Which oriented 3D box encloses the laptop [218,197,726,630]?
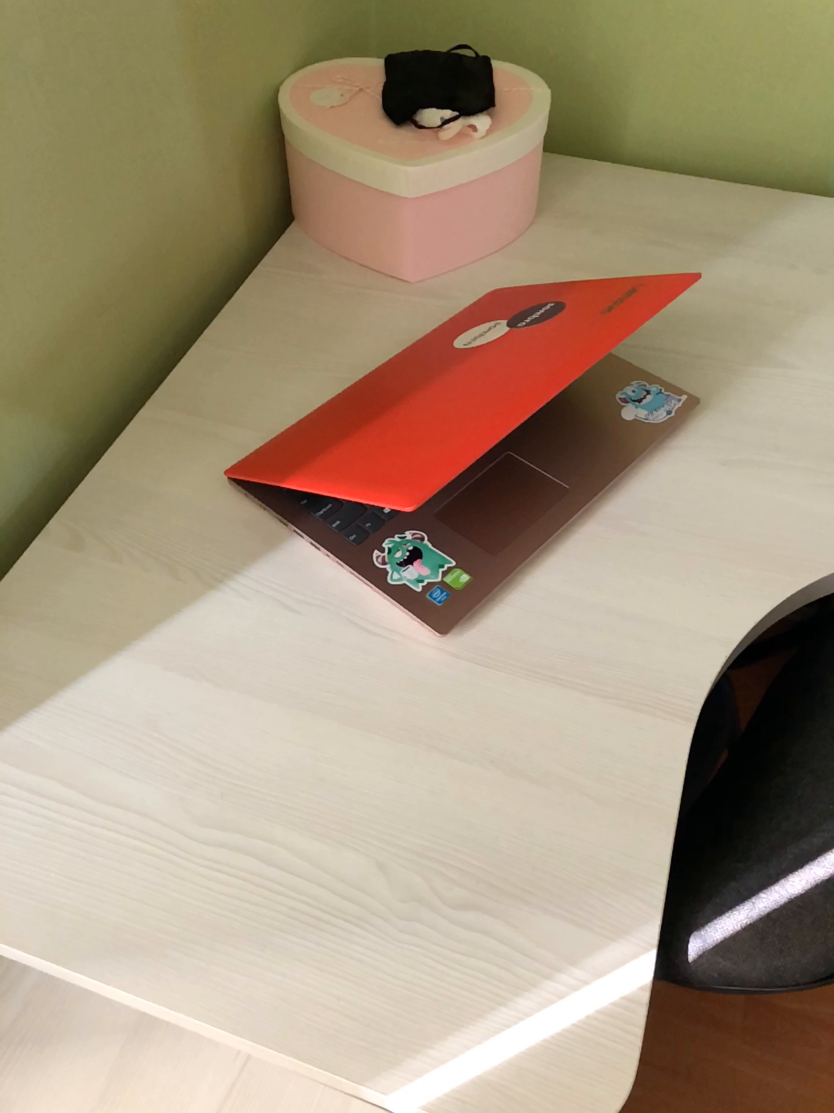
[{"bbox_3d":[0.056,-0.145,0.793,0.232,0.112,0.367,35,58,25],"label":"laptop"}]
